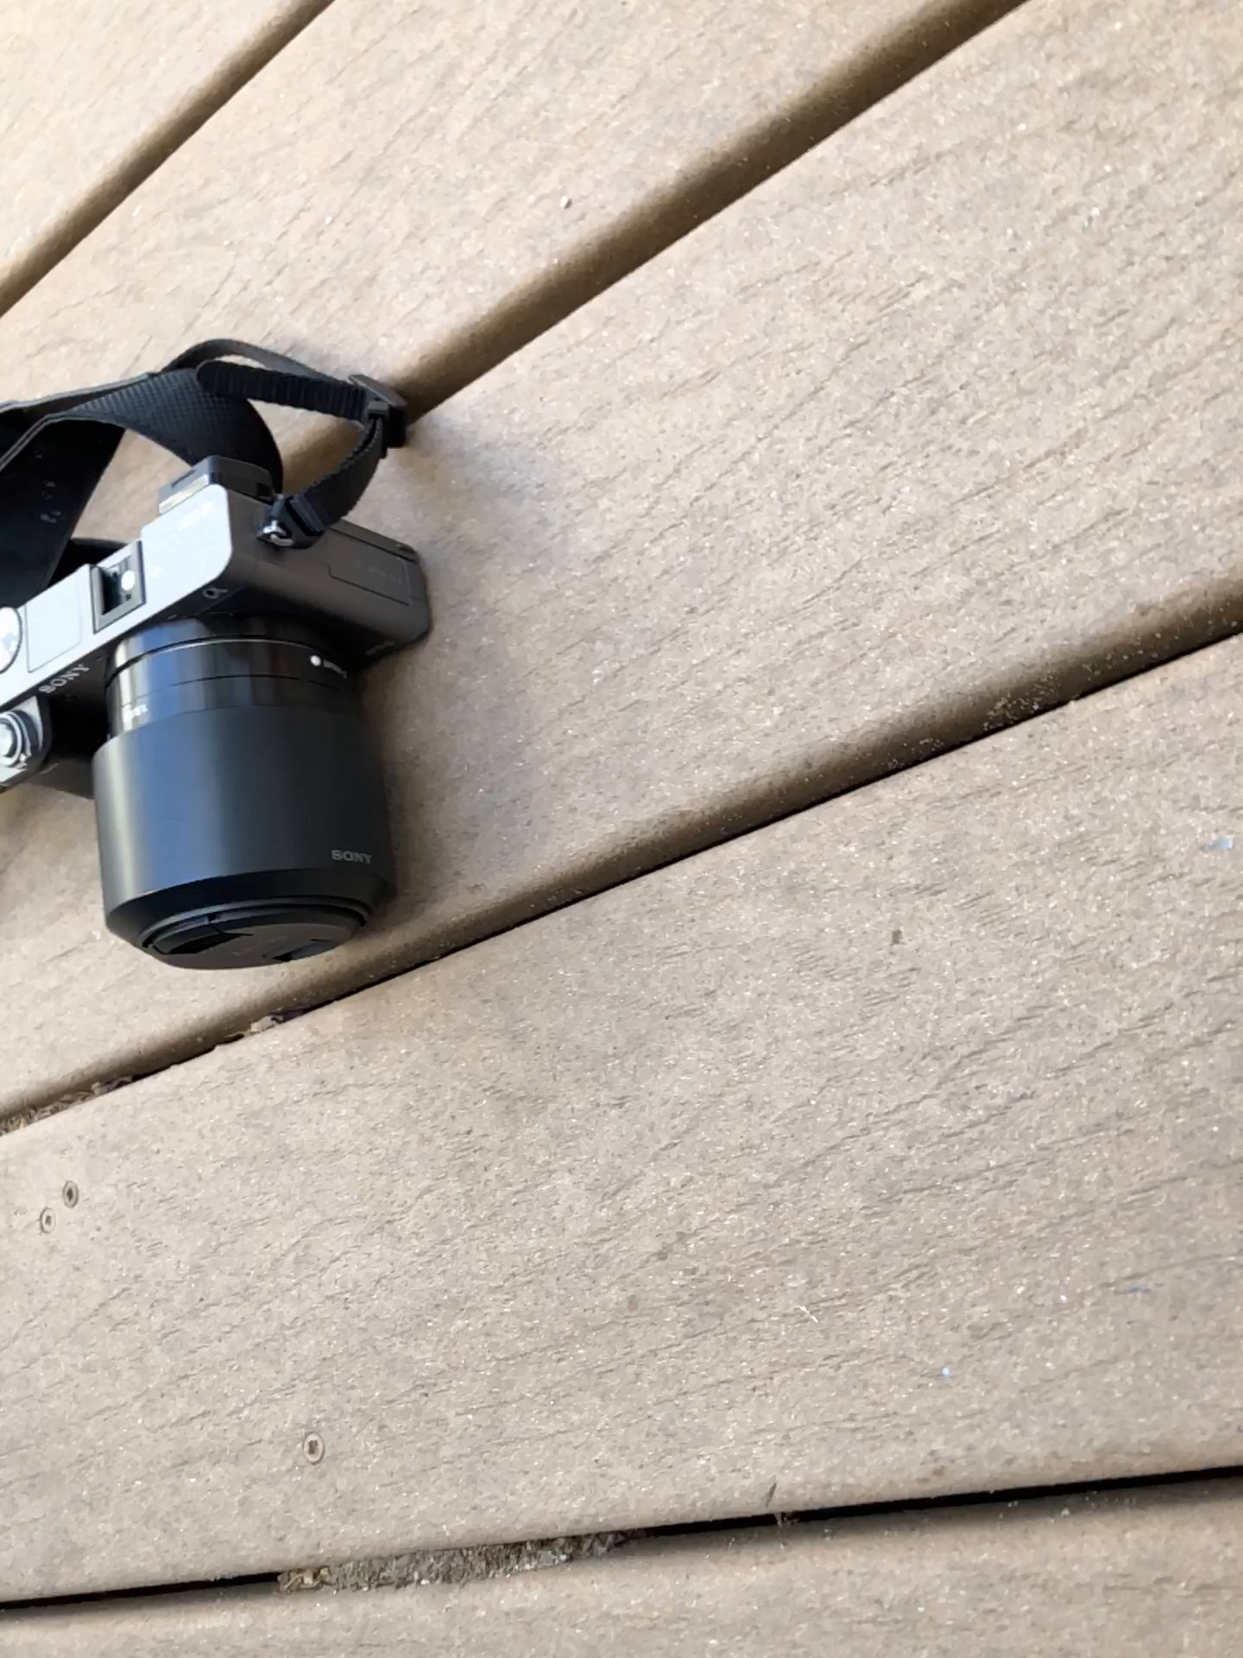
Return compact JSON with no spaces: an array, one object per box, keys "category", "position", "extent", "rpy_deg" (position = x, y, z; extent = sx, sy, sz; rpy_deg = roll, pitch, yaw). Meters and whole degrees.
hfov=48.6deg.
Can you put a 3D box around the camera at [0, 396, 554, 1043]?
[{"category":"camera","position":[-0.097,-0.016,0.339],"extent":[0.130,0.070,0.110],"rpy_deg":[-20,71,31]}]
